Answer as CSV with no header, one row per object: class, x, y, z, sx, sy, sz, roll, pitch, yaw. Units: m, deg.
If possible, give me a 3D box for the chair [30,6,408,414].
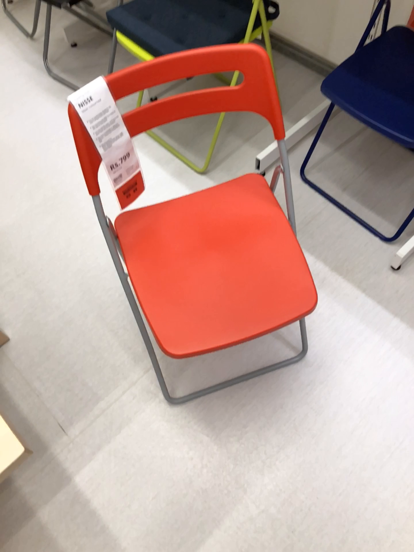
chair,0.006,-0.067,0.961,0.440,0.677,0.422,-18,60,-6
